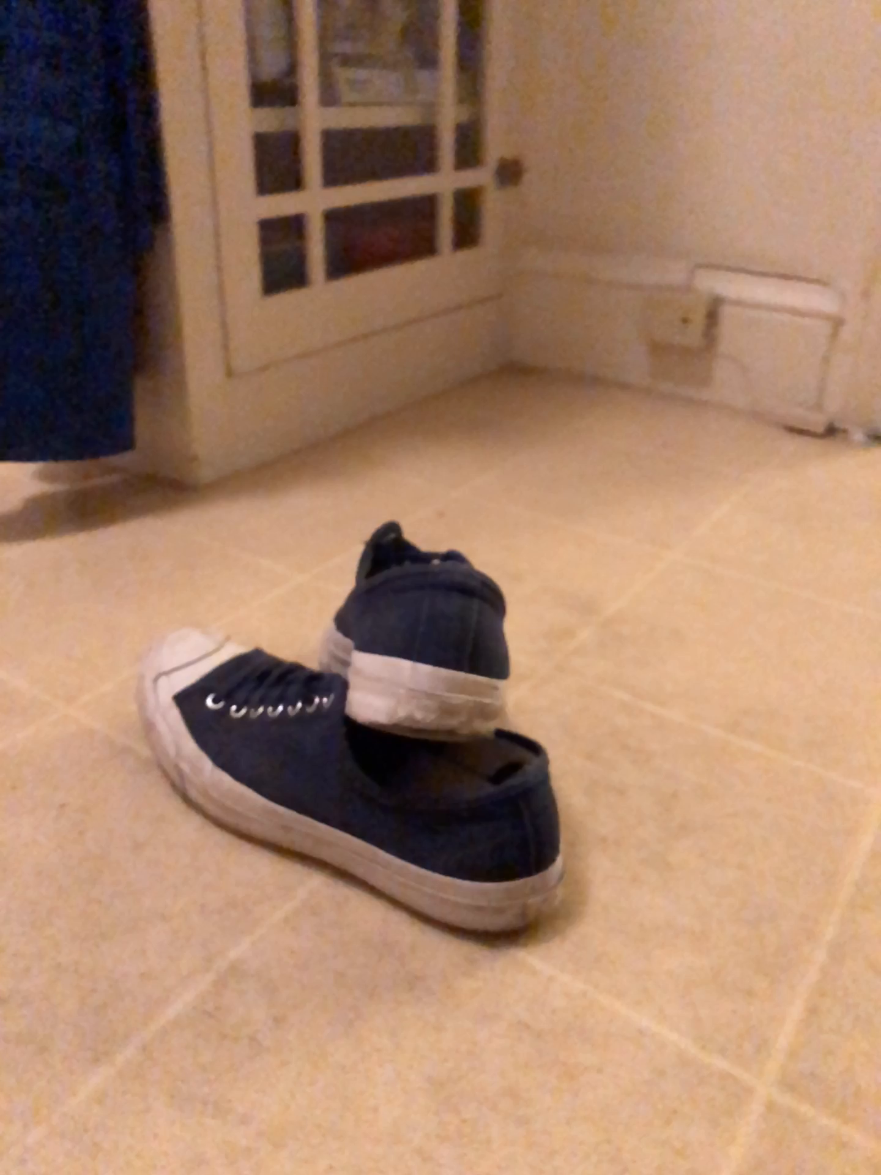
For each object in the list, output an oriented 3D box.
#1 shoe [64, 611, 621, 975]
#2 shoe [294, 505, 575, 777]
[{"bbox_3d":[-0.060,0.092,0.534,0.290,0.080,0.110,10,23,32],"label":"shoe"},{"bbox_3d":[-0.023,0.016,0.584,0.100,0.100,0.290,16,1,-10],"label":"shoe"}]
